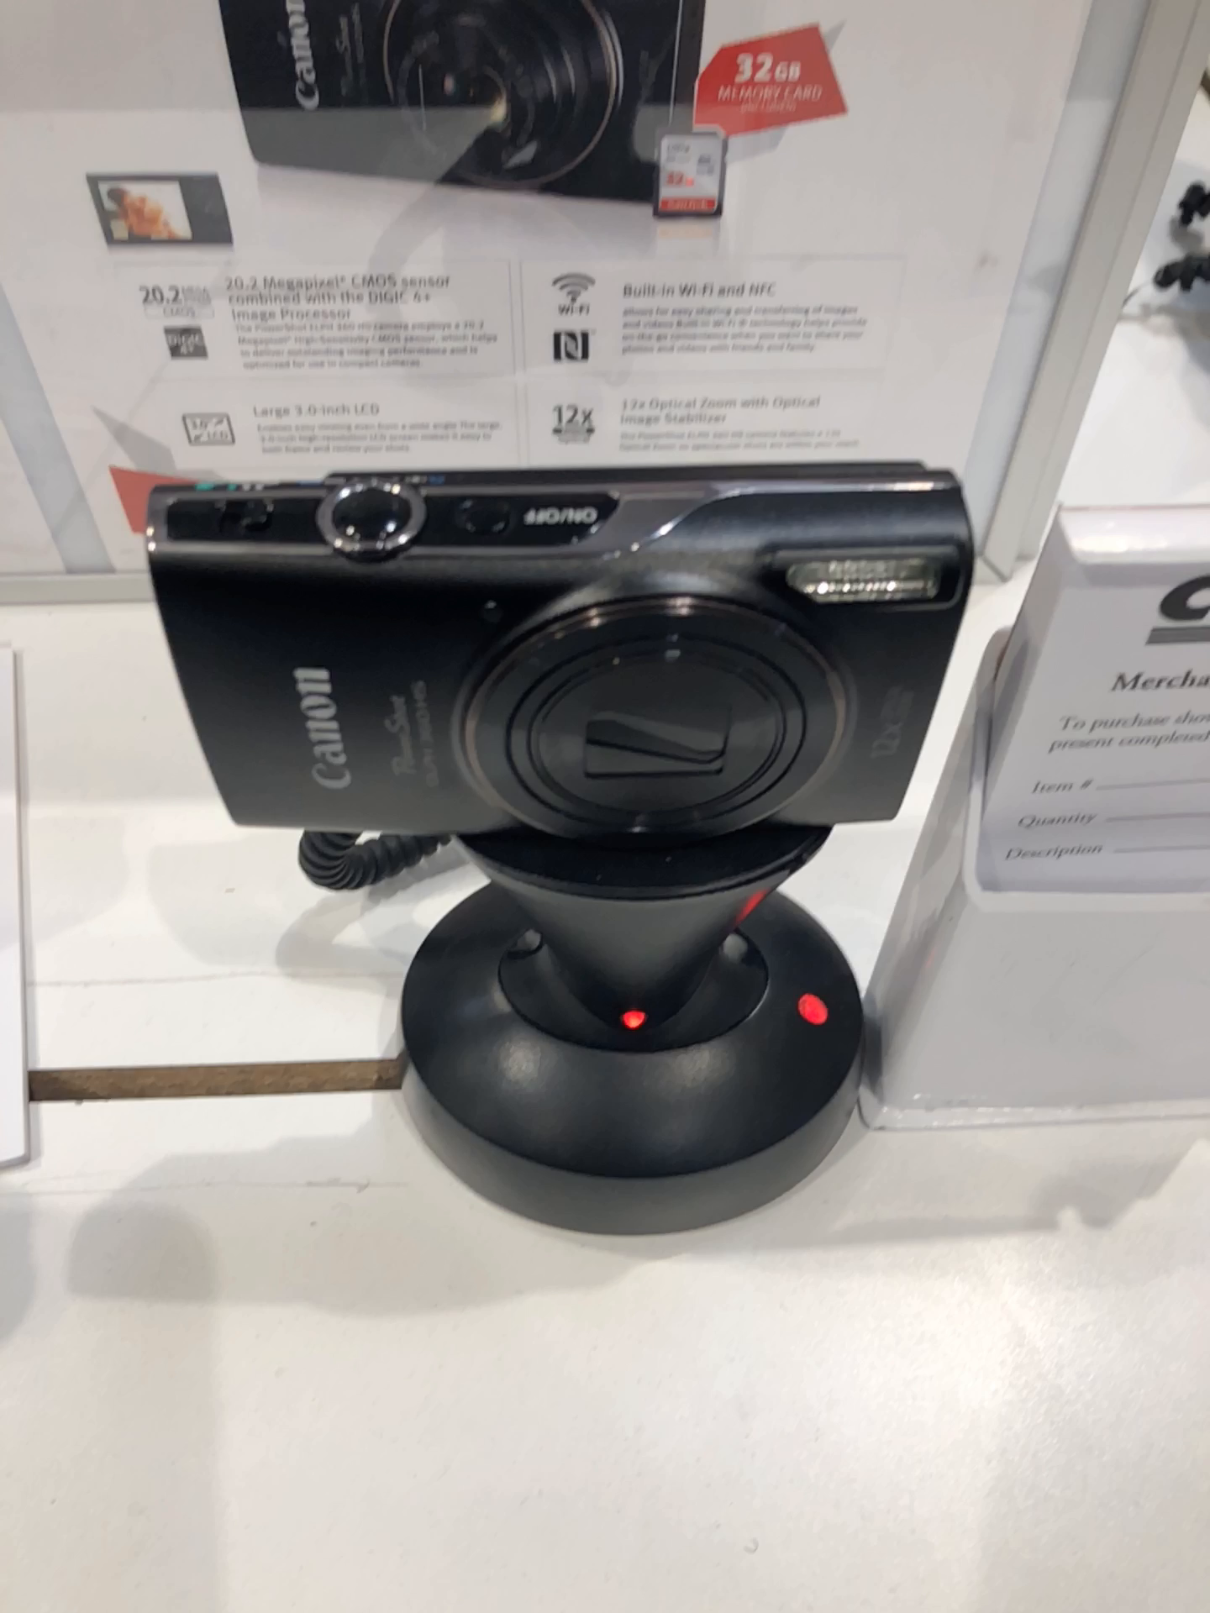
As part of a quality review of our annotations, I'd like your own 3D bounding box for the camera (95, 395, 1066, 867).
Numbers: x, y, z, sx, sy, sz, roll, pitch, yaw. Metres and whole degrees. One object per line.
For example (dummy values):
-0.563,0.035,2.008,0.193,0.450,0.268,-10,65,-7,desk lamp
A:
-0.003,-0.022,0.185,0.110,0.060,0.030,-1,53,-1,camera
